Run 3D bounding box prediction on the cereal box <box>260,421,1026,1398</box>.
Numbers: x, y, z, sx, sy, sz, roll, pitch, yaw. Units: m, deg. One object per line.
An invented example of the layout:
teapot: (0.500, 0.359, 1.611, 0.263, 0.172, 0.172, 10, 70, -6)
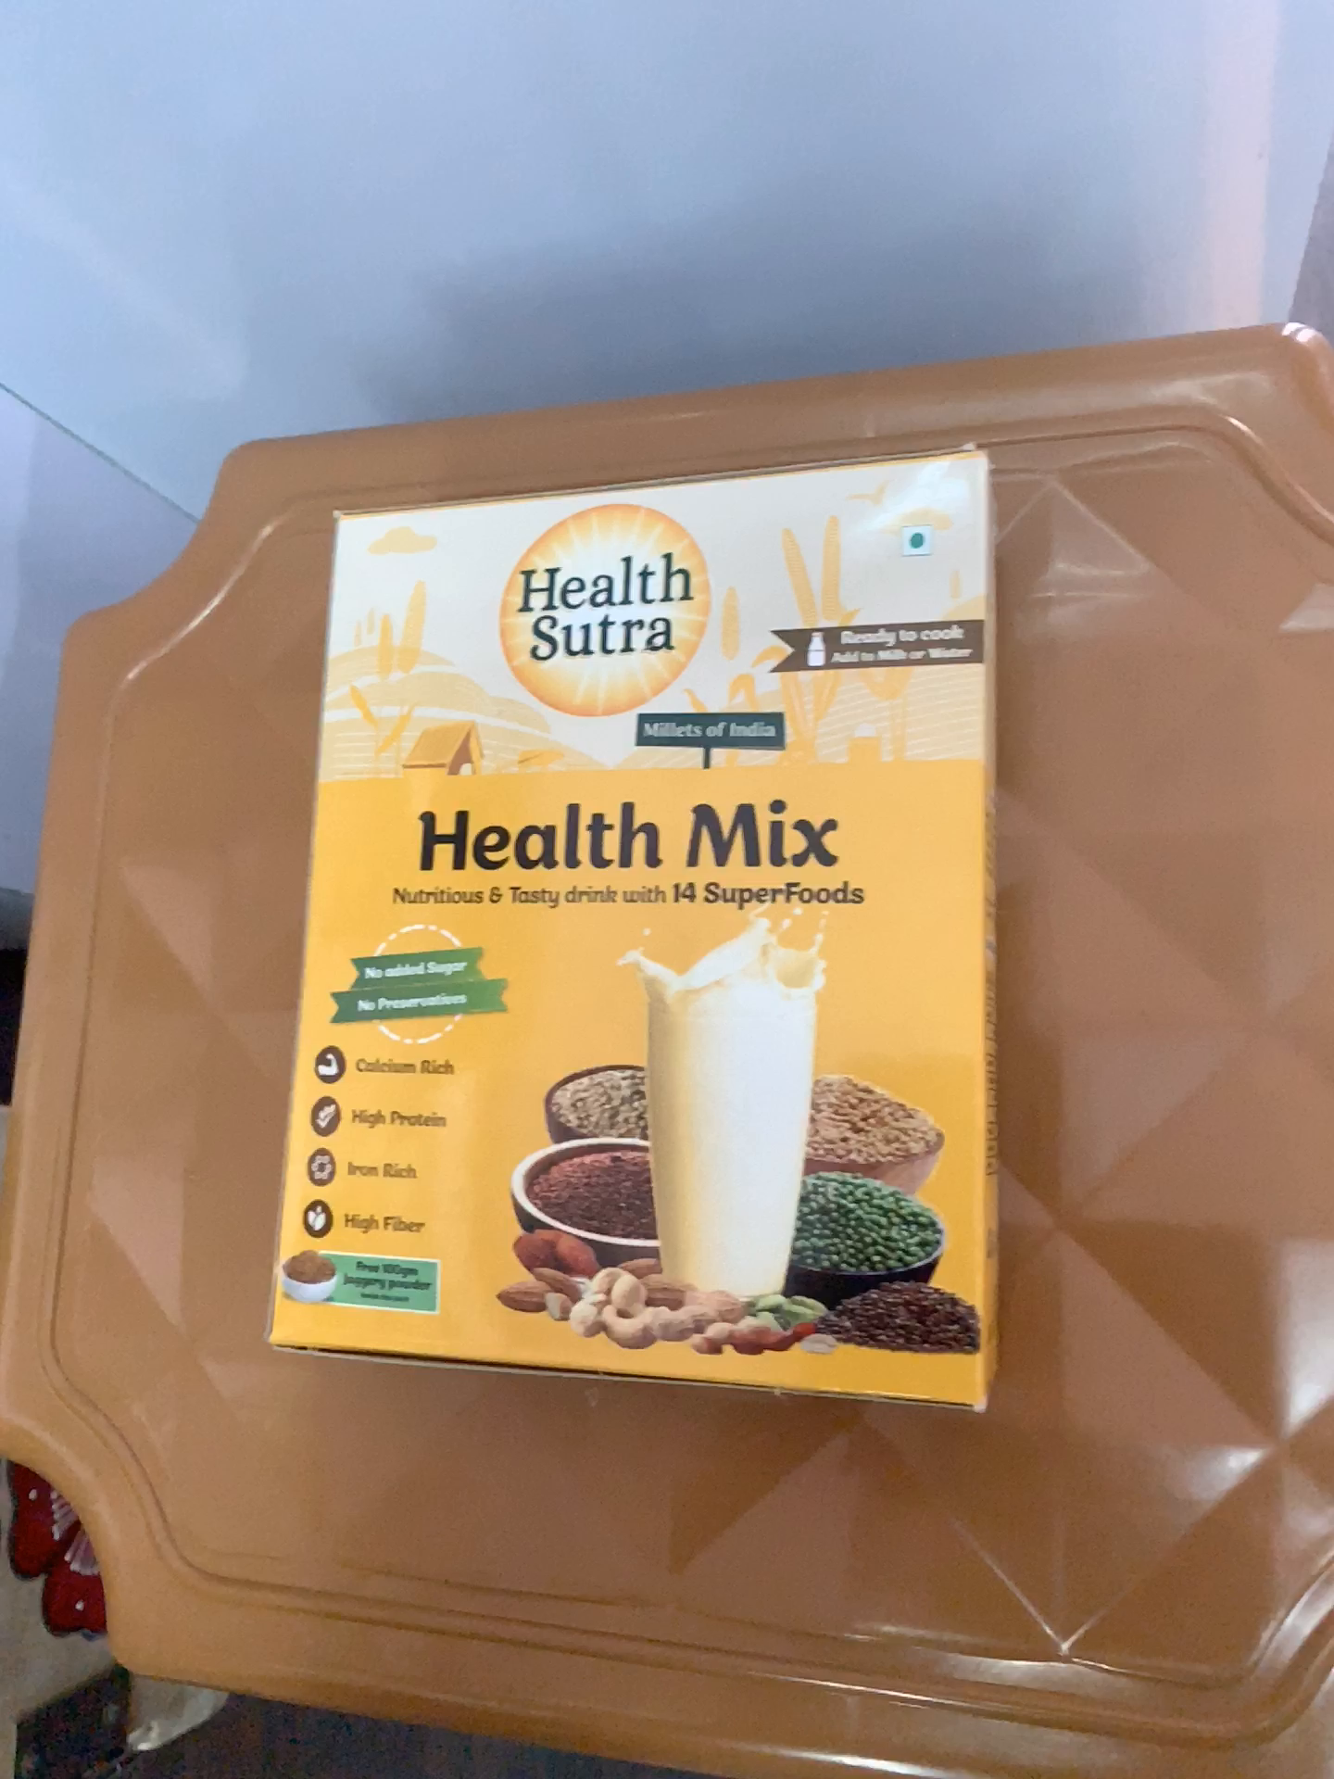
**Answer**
cereal box: (-0.001, 0.003, 0.259, 0.130, 0.040, 0.160, -1, 80, 15)
